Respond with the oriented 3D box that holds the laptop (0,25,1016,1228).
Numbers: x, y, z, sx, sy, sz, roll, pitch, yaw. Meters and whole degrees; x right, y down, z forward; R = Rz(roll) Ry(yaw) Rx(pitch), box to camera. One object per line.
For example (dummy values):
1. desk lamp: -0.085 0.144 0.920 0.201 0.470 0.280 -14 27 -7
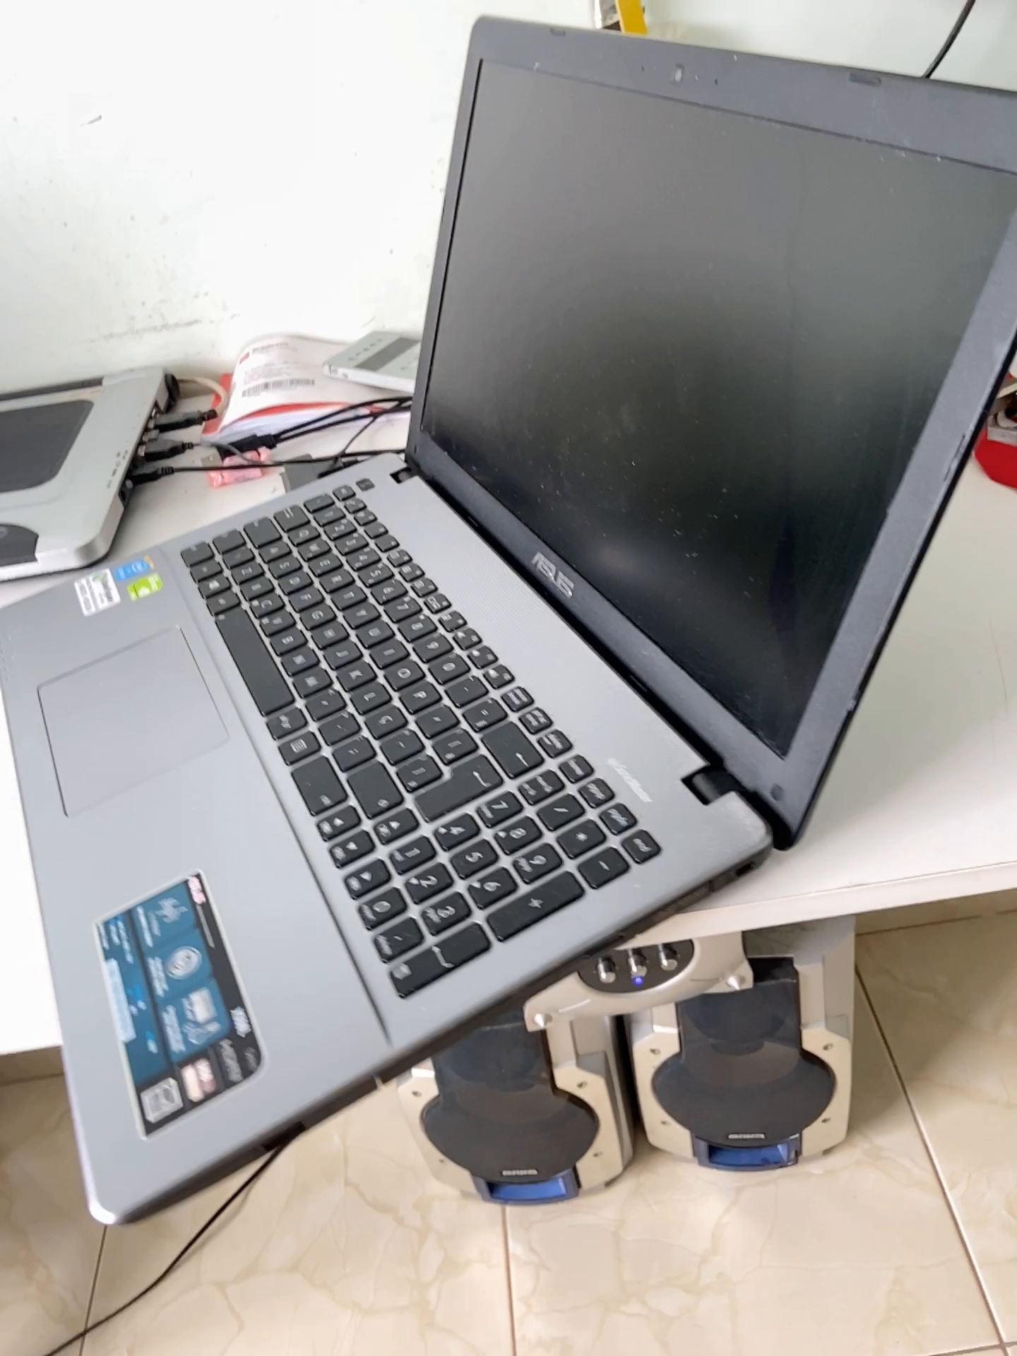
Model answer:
1. laptop: -0.063 -0.087 0.425 0.356 0.213 0.378 -25 41 -14
